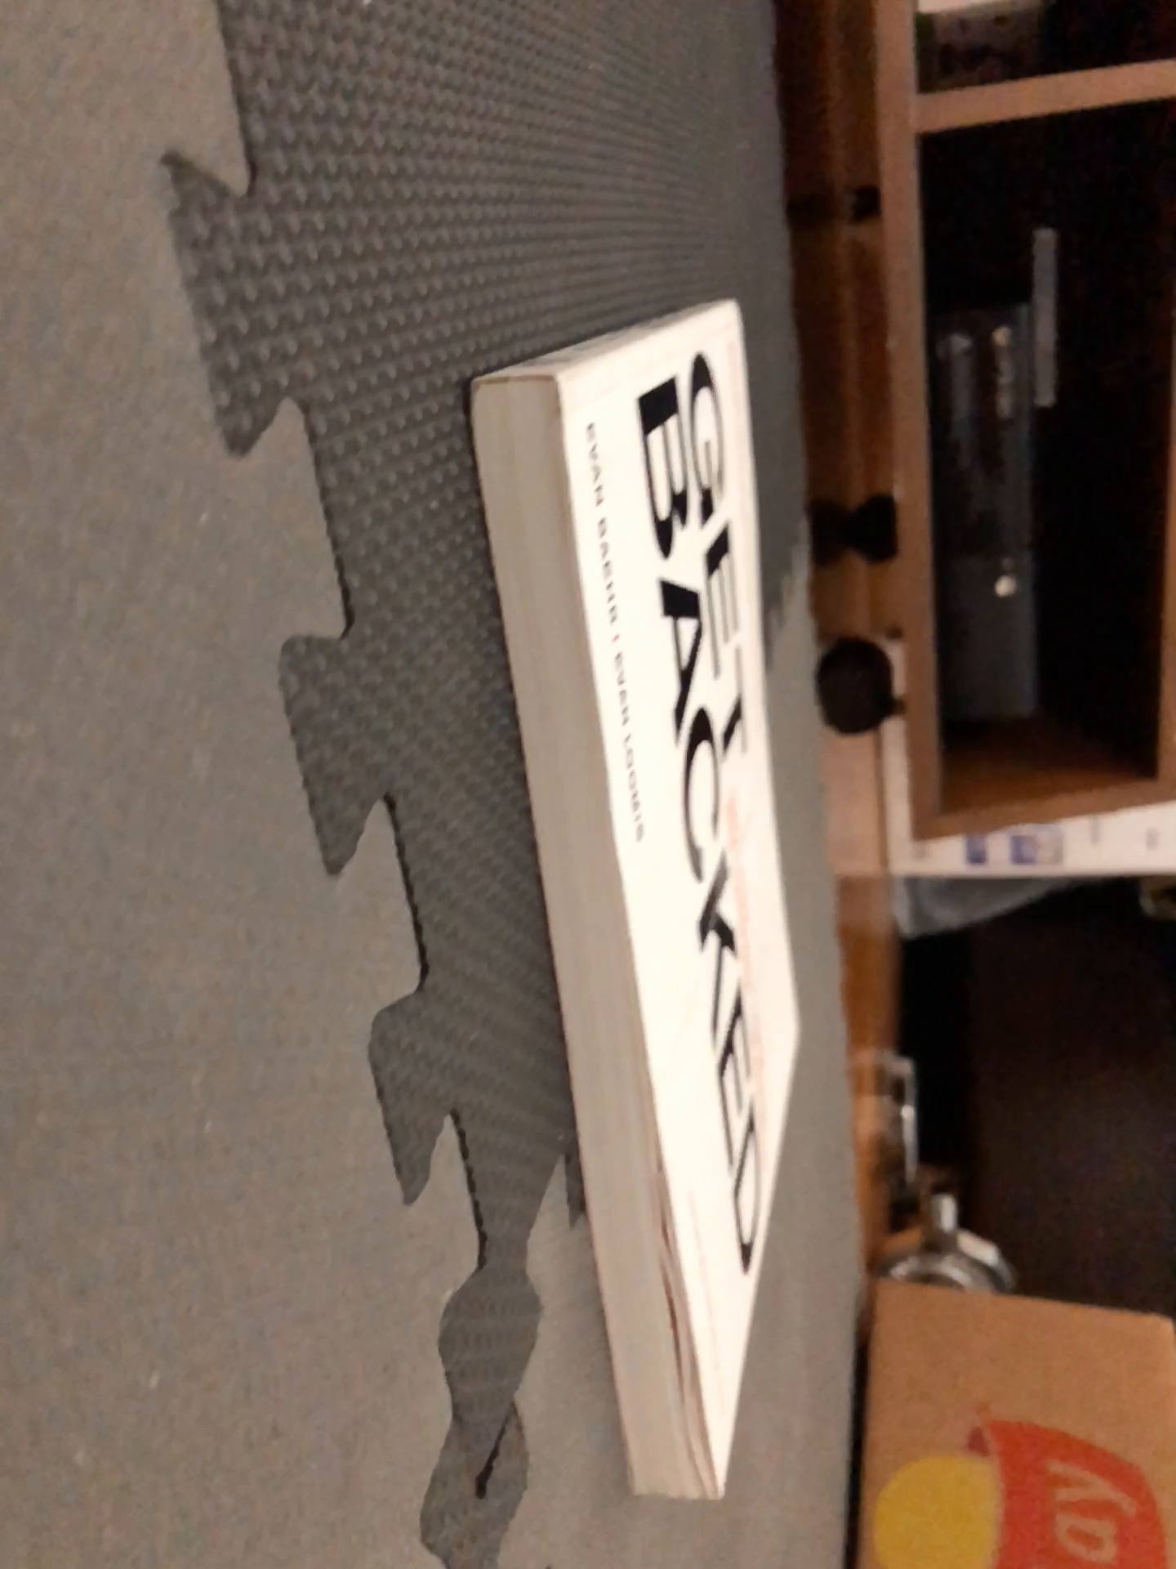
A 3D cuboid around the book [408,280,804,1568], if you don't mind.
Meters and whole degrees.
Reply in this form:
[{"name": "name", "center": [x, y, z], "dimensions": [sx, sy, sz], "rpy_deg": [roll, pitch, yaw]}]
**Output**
[{"name": "book", "center": [0.025, 0.015, 0.337], "dimensions": [0.211, 0.020, 0.260], "rpy_deg": [-57, 142, -63]}]
